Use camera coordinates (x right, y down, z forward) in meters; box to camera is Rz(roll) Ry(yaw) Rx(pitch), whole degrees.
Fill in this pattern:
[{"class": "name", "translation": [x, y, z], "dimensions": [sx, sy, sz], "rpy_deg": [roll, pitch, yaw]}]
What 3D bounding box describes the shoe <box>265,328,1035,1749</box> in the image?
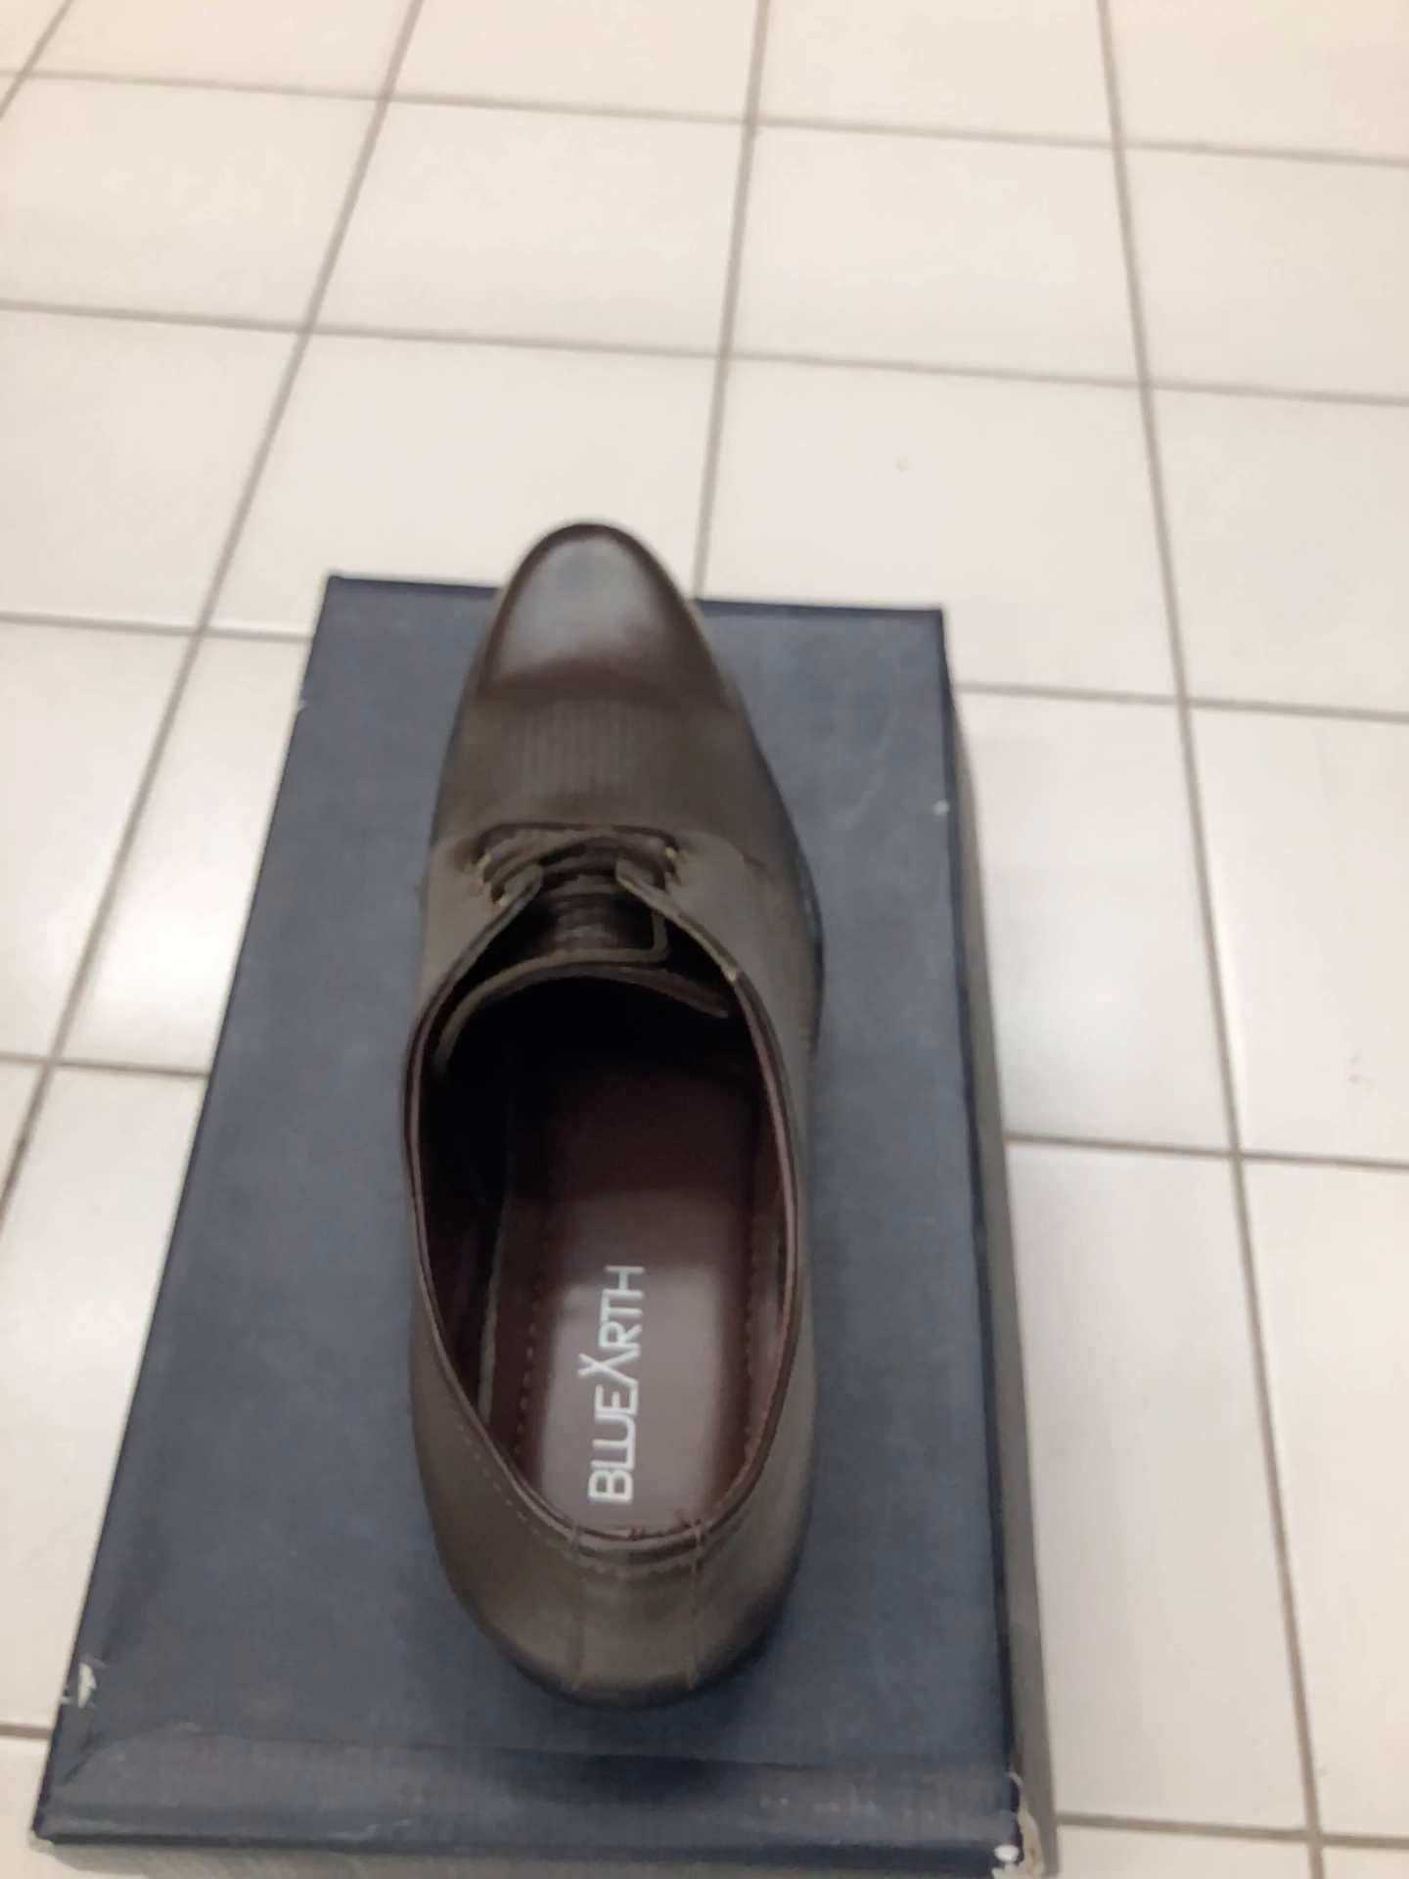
[{"class": "shoe", "translation": [-0.011, 0.005, 0.349], "dimensions": [0.110, 0.100, 0.301], "rpy_deg": [0, 57, -2]}]
